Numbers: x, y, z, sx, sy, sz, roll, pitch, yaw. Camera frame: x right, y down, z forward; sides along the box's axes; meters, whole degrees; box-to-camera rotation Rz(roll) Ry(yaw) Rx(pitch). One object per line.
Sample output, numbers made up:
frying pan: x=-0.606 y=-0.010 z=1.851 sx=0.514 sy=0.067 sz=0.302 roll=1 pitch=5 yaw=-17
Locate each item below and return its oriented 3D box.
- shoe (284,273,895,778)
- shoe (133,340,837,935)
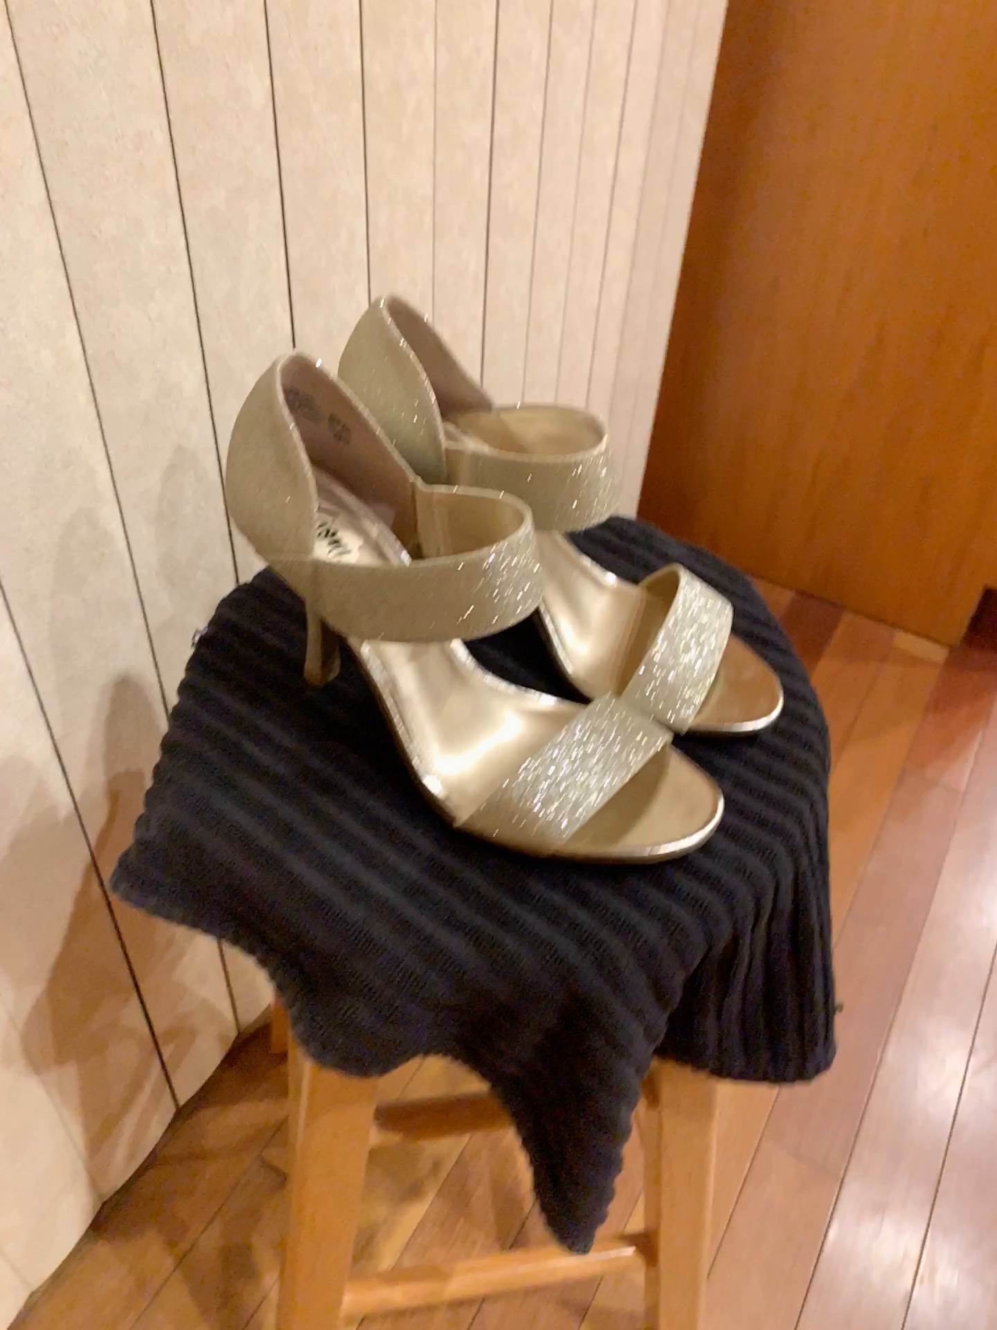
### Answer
shoe: x=0.031 y=-0.070 z=0.465 sx=0.237 sy=0.129 sz=0.090 roll=24 pitch=46 yaw=20
shoe: x=-0.012 y=-0.019 z=0.409 sx=0.236 sy=0.129 sz=0.095 roll=24 pitch=46 yaw=20
